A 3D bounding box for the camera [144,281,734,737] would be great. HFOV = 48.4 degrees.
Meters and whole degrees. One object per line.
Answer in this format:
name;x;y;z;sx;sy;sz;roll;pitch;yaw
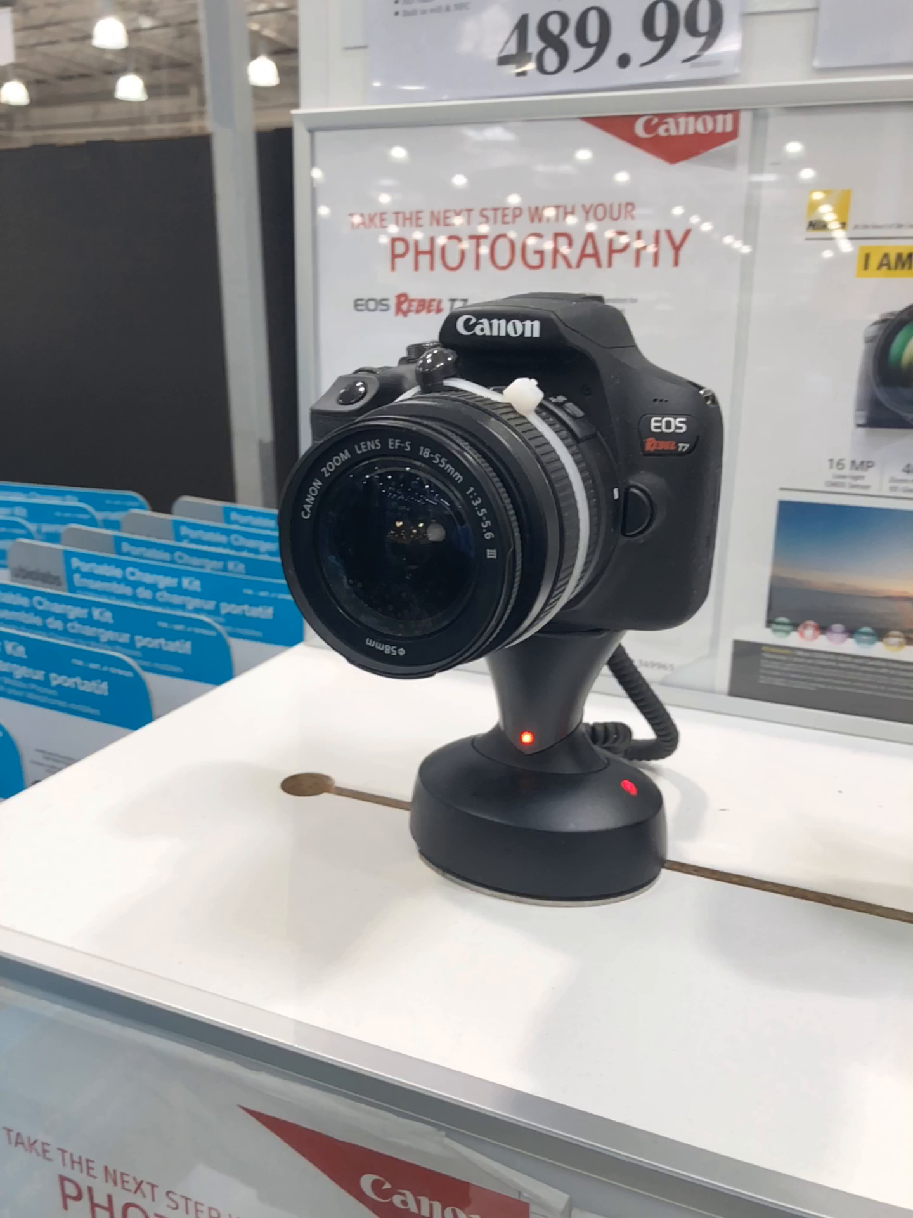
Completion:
camera;0.004;-0.041;0.297;0.130;0.100;0.120;7;16;20
